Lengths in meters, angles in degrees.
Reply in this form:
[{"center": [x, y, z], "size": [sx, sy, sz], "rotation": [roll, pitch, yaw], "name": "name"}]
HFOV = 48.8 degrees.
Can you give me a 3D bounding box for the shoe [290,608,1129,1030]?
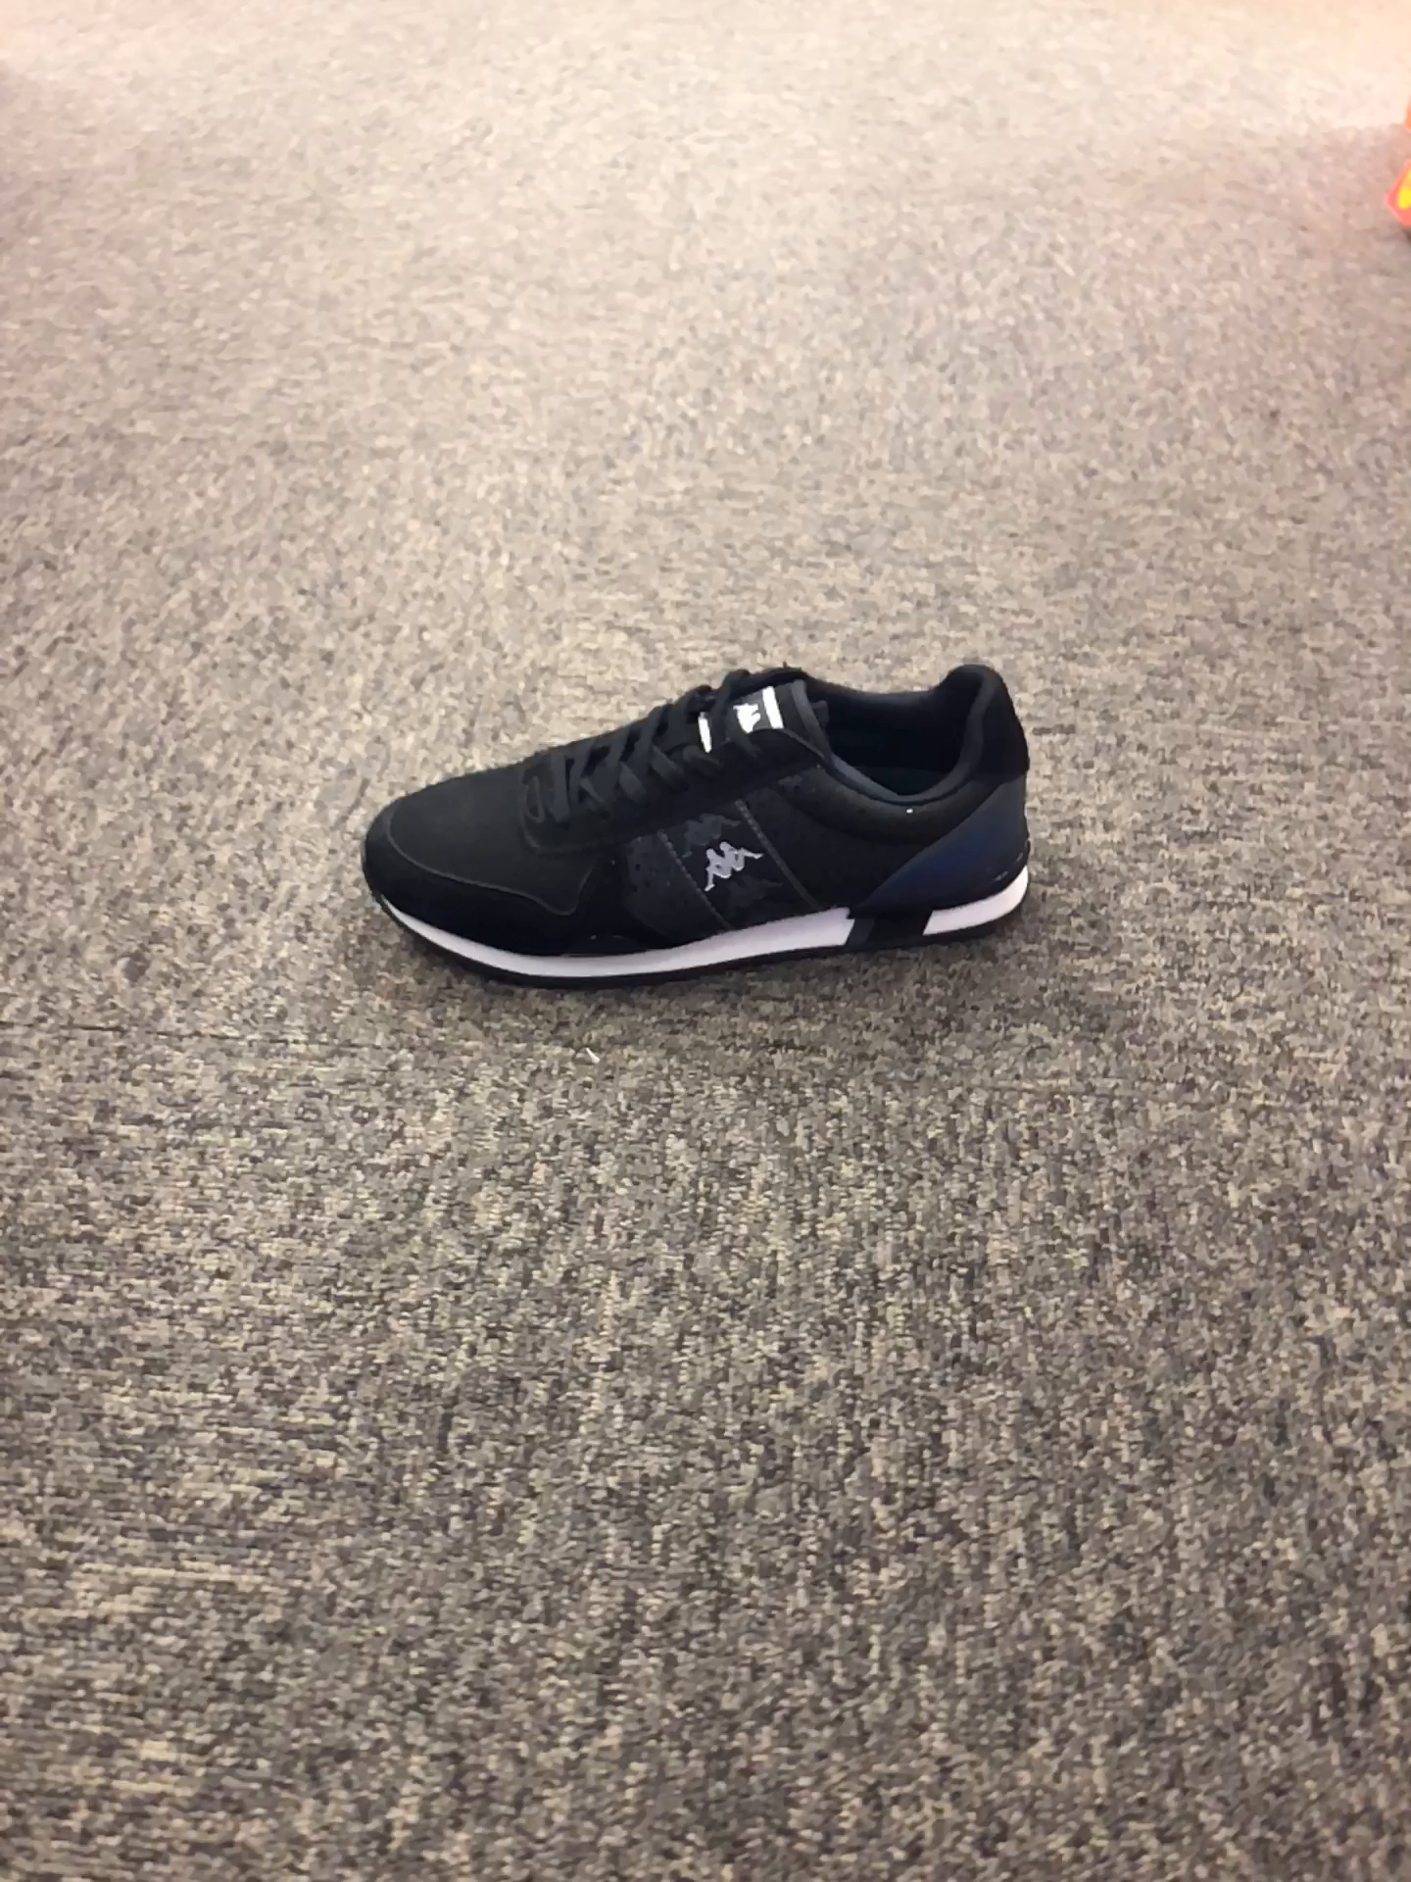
[{"center": [0.001, -0.046, 0.573], "size": [0.274, 0.089, 0.101], "rotation": [-5, 42, -1], "name": "shoe"}]
